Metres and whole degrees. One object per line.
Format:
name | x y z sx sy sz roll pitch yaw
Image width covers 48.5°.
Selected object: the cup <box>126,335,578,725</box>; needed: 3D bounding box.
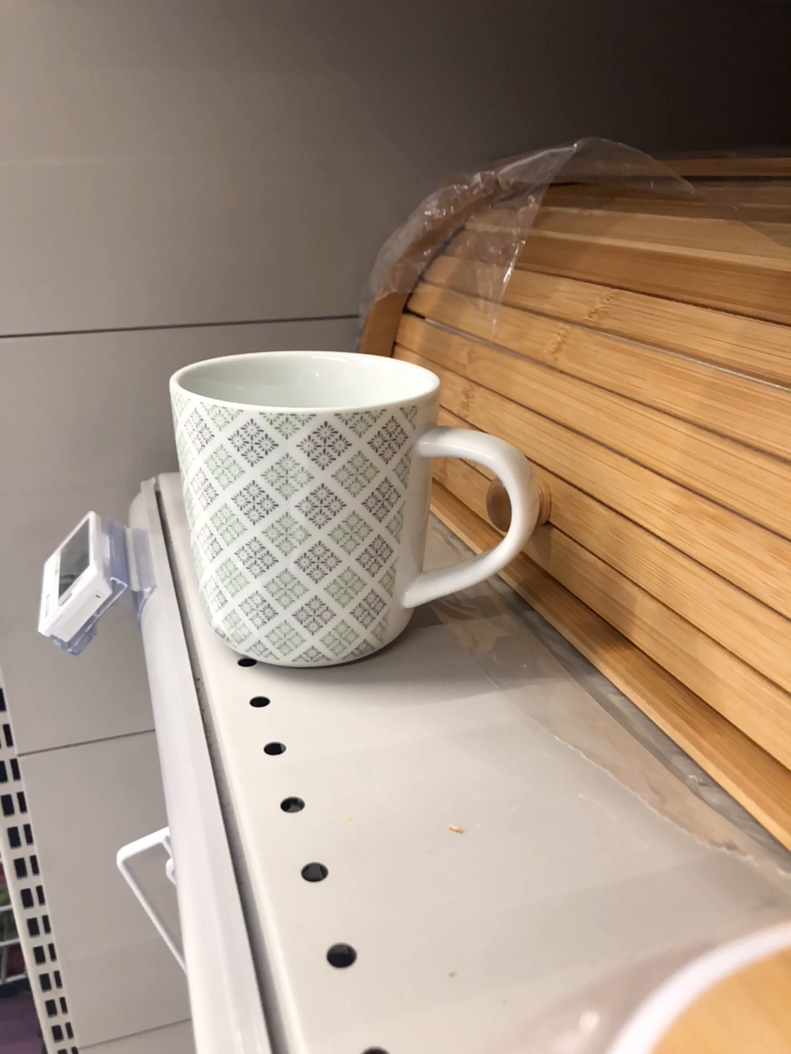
cup | -0.009 -0.008 0.294 0.118 0.090 0.086 8 23 19
